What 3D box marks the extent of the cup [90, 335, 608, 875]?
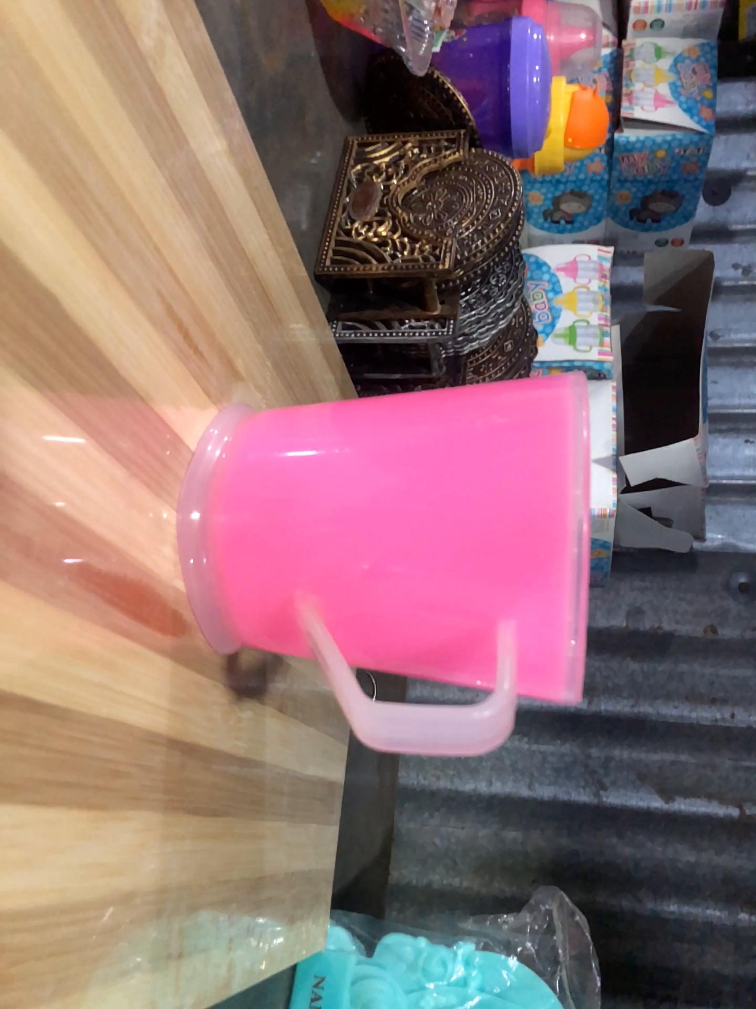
[{"bbox_3d":[0.005,0.019,0.224,0.120,0.100,0.070,-77,165,-44],"label":"cup"}]
